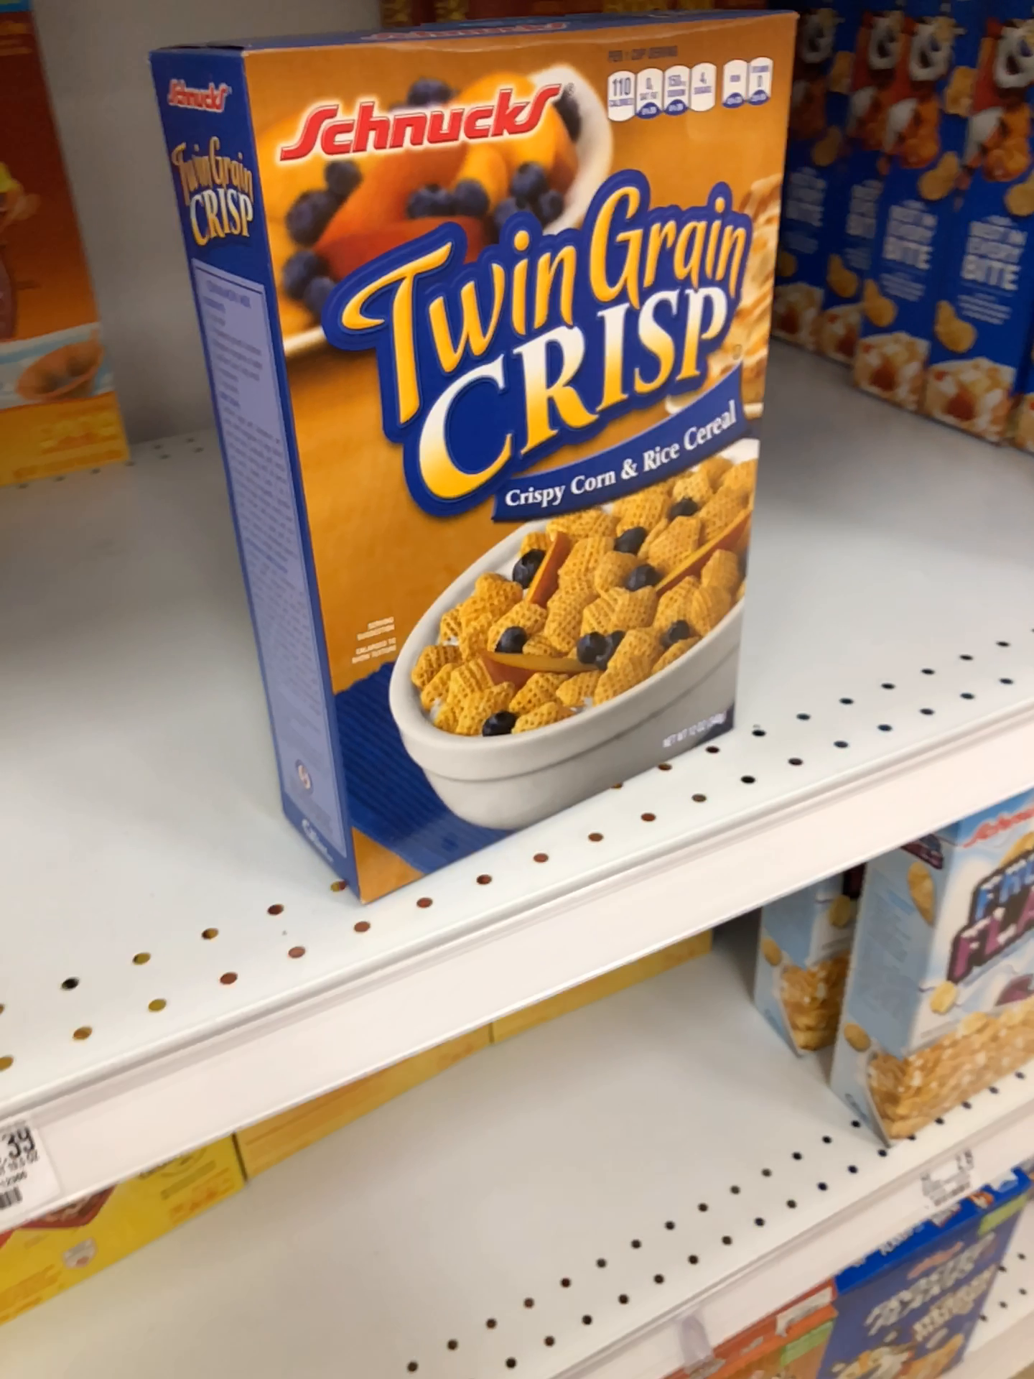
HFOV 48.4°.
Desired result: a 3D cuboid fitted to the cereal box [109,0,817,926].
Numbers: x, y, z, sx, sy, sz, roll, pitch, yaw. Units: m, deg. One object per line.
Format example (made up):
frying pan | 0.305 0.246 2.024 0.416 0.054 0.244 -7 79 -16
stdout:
cereal box | -0.005 -0.085 0.423 0.210 0.289 0.070 -23 38 -30
